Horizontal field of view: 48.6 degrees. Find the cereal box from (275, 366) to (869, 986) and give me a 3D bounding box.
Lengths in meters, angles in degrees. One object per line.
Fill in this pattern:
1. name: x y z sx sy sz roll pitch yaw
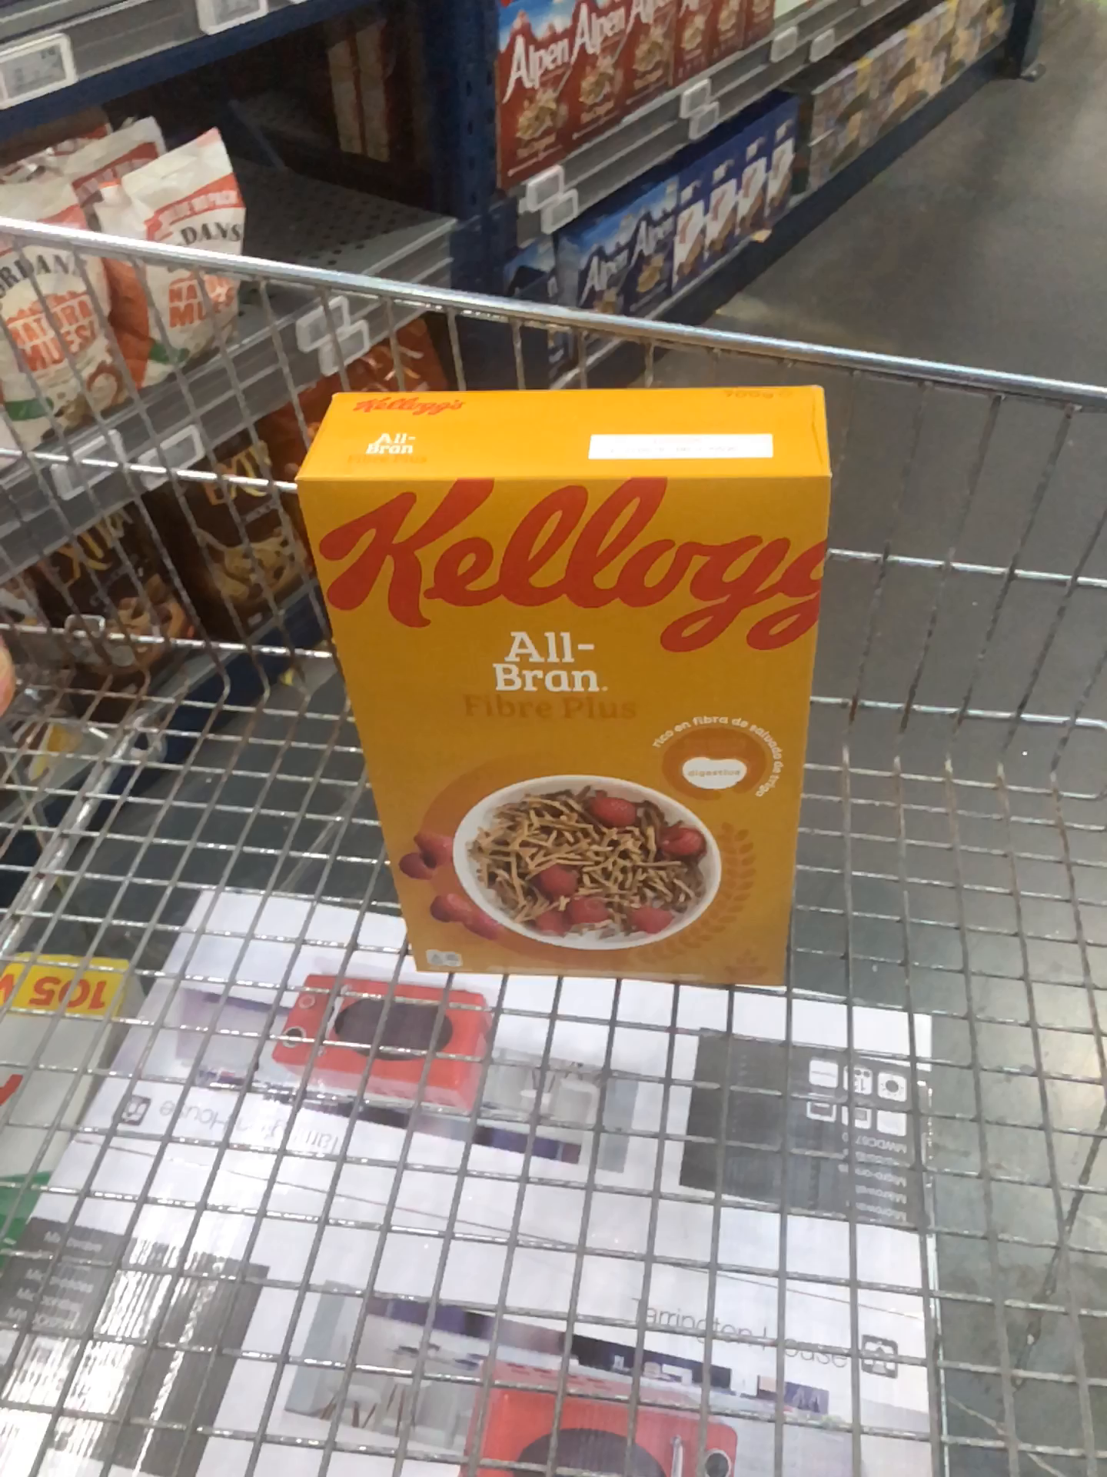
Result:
1. cereal box: 0.020 -0.009 0.534 0.200 0.289 0.070 1 44 8
